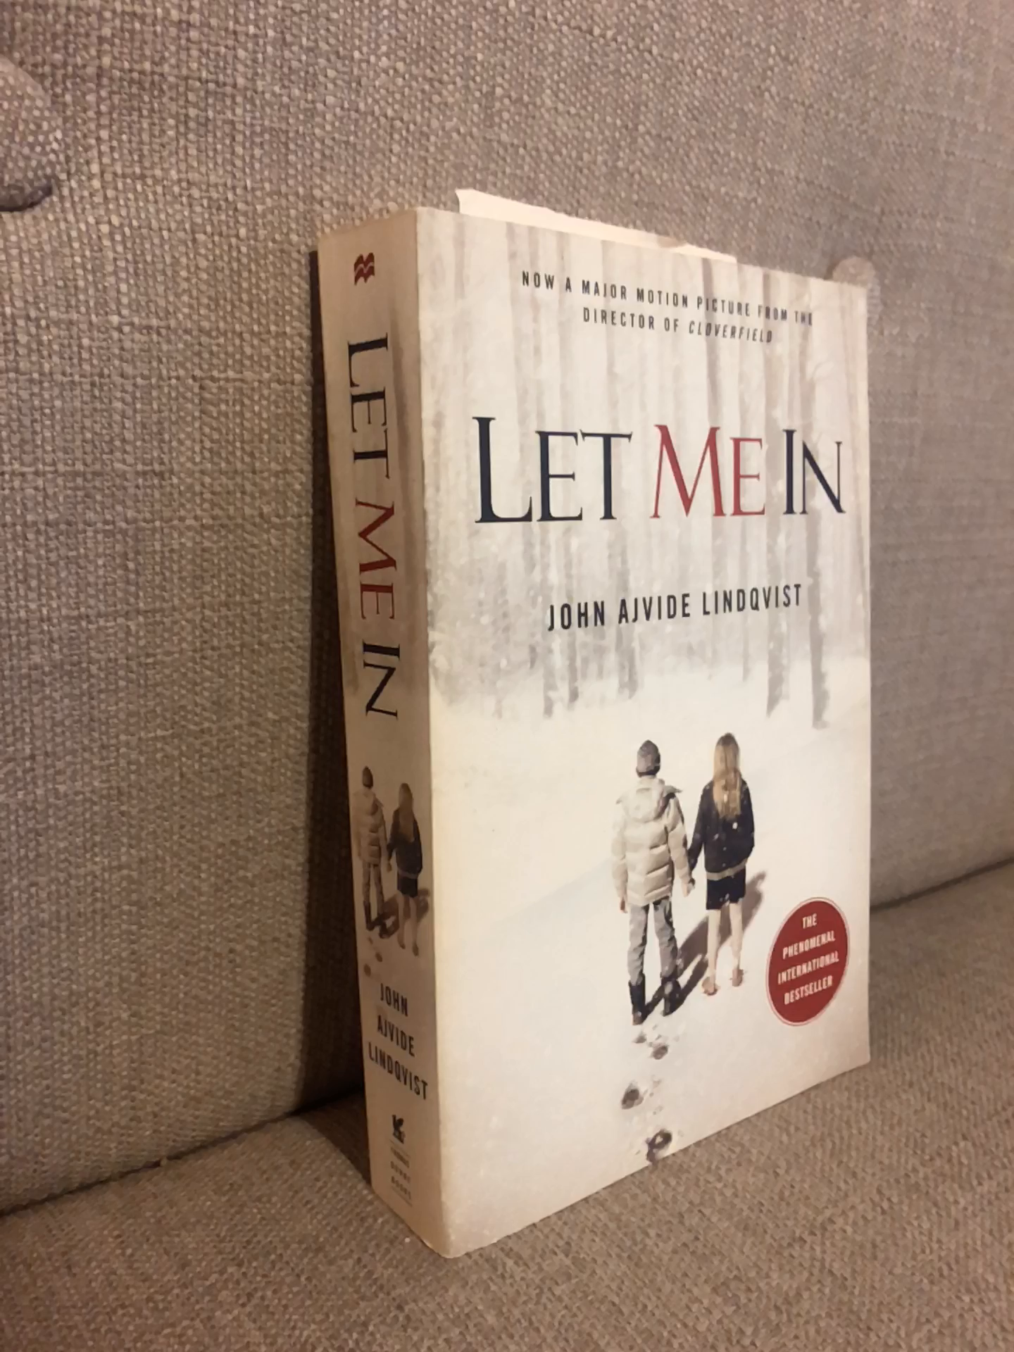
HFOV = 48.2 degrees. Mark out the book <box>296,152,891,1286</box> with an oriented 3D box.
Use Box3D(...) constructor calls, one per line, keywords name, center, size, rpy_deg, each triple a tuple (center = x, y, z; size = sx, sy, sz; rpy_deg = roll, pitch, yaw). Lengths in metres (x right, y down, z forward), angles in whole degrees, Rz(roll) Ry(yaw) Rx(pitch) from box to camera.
Box3D(name="book", center=(0.030, 0.005, 0.275), size=(0.147, 0.216, 0.043), rpy_deg=(-6, 7, -37))
